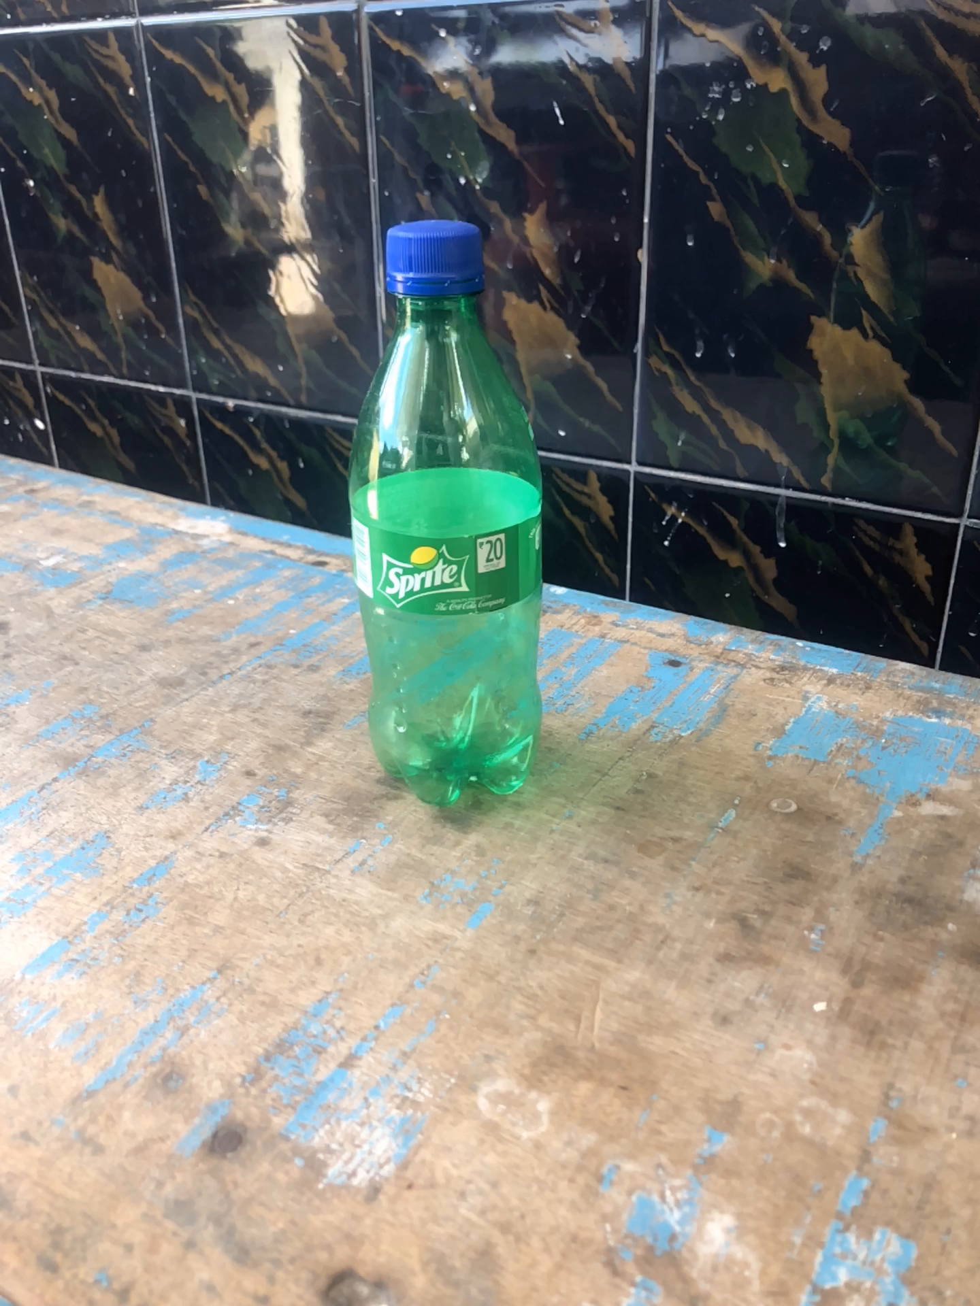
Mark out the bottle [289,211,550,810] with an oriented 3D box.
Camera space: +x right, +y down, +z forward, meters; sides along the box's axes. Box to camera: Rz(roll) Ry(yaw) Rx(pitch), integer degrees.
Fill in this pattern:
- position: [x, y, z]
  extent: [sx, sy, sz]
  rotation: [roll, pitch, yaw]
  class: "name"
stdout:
- position: [-0.013, -0.036, 0.307]
  extent: [0.060, 0.159, 0.050]
  rotation: [0, 27, 2]
  class: "bottle"
